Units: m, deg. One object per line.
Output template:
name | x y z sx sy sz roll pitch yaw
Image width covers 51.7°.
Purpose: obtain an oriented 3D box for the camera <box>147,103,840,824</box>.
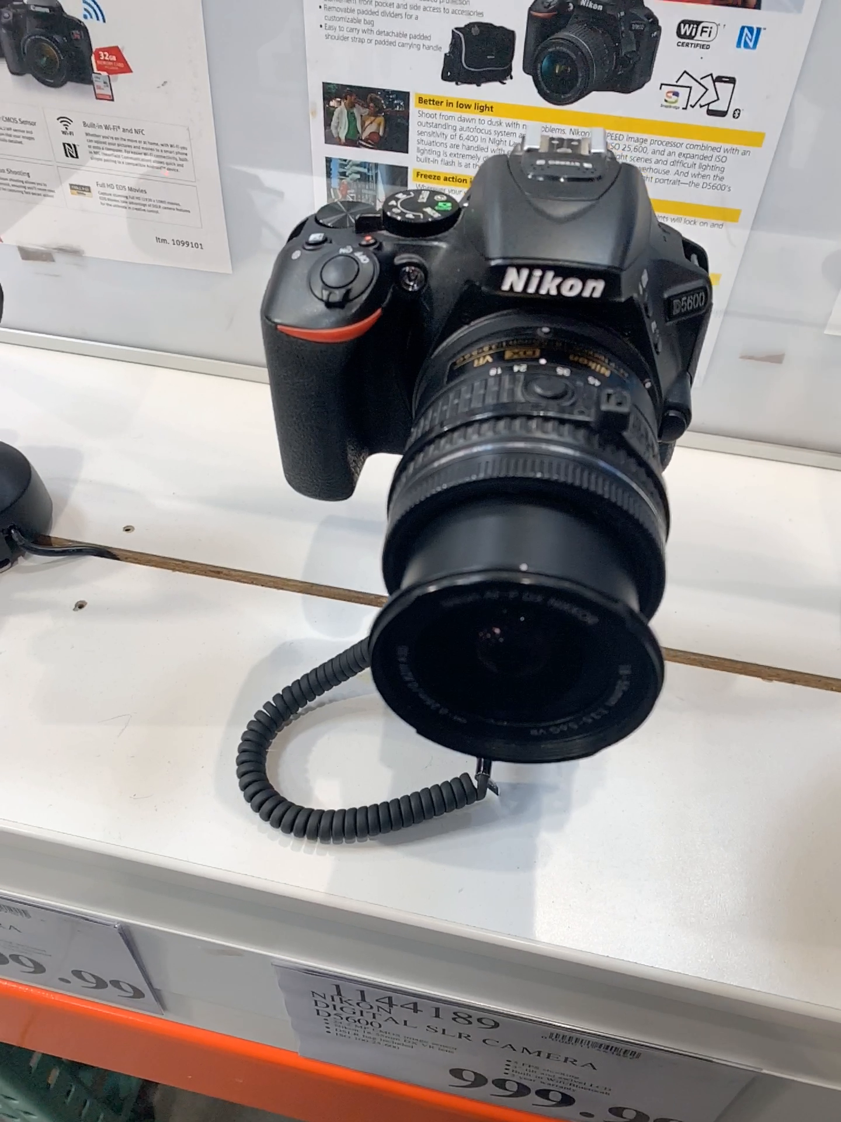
camera | 0.024 -0.033 0.206 0.111 0.090 0.141 8 45 6
